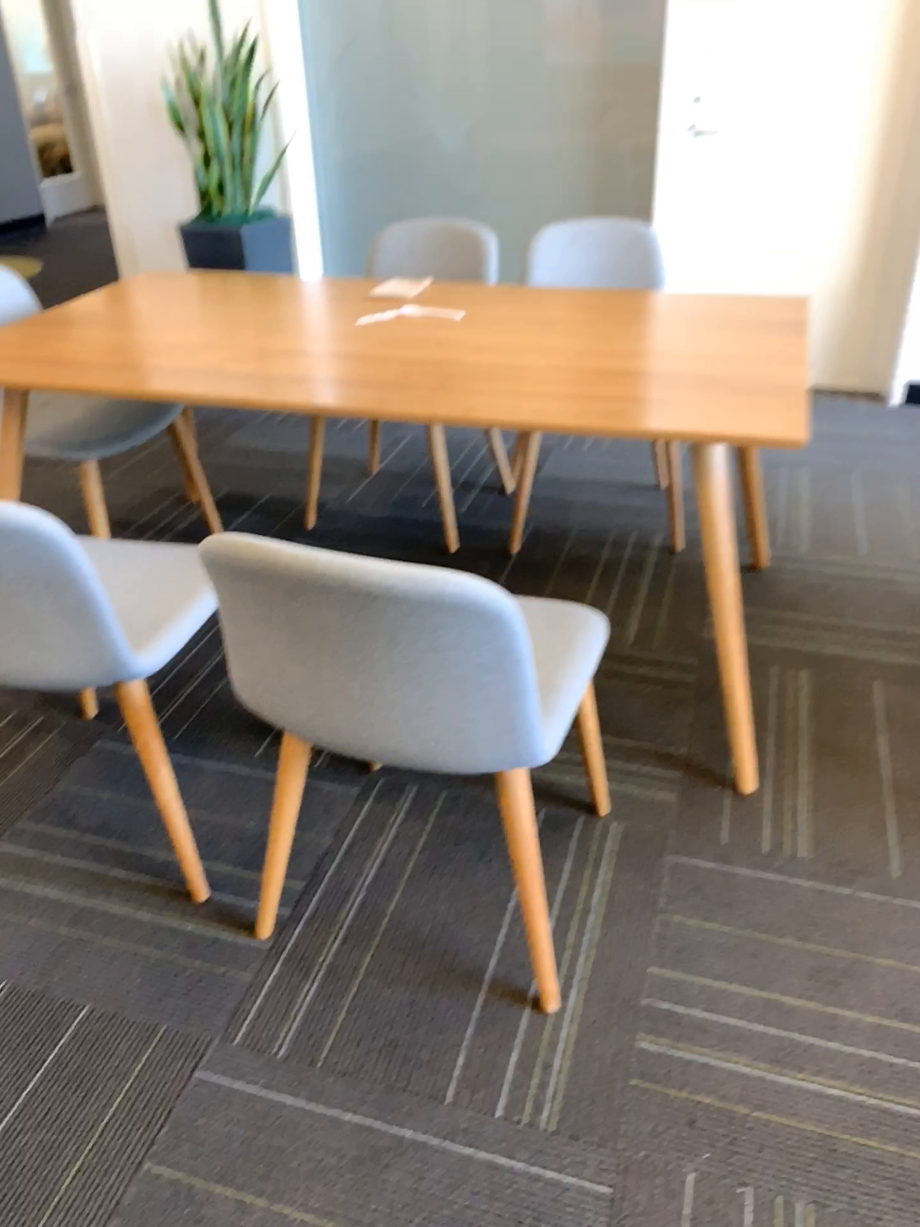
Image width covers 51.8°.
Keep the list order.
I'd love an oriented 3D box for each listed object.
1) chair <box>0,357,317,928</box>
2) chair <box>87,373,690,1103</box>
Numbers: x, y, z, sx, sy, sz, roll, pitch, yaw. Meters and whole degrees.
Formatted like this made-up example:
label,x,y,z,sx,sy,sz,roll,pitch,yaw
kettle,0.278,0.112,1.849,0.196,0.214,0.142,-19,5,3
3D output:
label,x,y,z,sx,sy,sz,roll,pitch,yaw
chair,-0.662,0.025,1.678,0.570,0.776,0.533,7,32,14
chair,-0.037,0.143,1.417,0.590,0.795,0.573,10,33,18
